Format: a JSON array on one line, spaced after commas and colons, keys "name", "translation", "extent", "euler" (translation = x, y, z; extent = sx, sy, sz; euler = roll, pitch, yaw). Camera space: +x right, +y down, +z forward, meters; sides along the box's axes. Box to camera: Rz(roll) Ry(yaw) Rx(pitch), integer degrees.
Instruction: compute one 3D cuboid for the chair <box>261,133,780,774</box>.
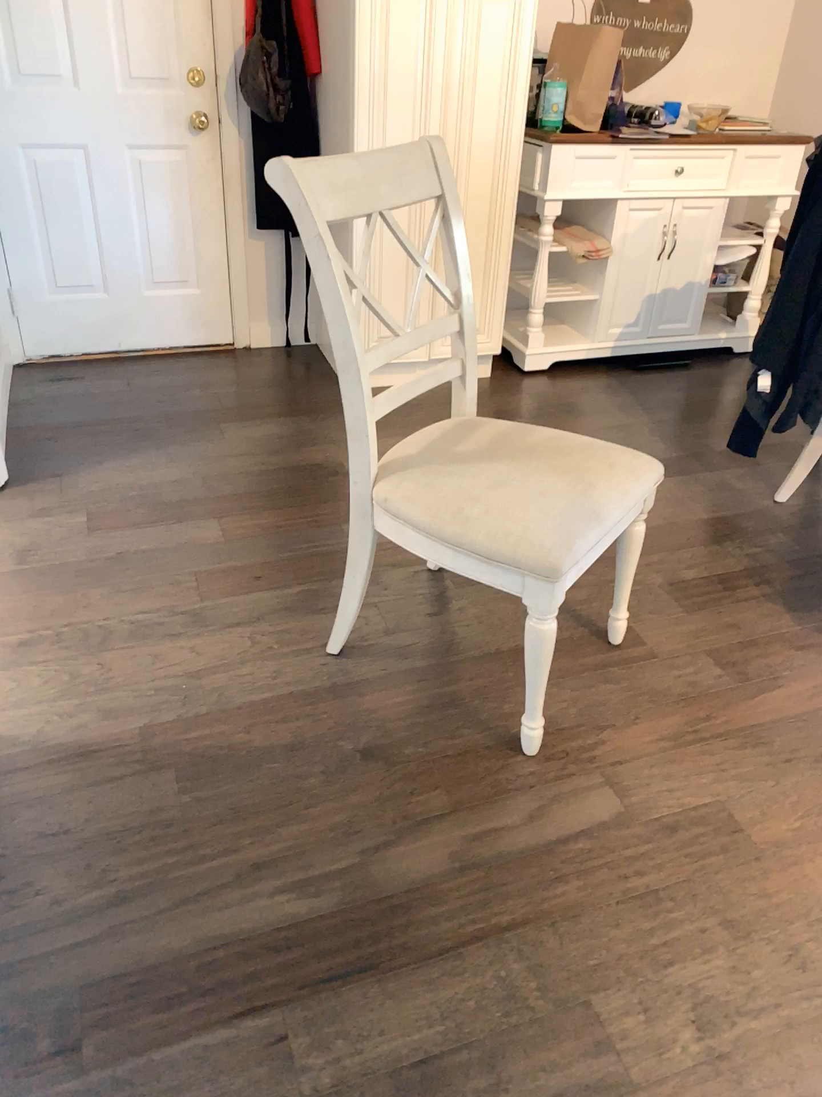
[{"name": "chair", "translation": [0.162, -0.217, 1.574], "extent": [0.652, 0.924, 0.532], "euler": [22, 36, 28]}]
